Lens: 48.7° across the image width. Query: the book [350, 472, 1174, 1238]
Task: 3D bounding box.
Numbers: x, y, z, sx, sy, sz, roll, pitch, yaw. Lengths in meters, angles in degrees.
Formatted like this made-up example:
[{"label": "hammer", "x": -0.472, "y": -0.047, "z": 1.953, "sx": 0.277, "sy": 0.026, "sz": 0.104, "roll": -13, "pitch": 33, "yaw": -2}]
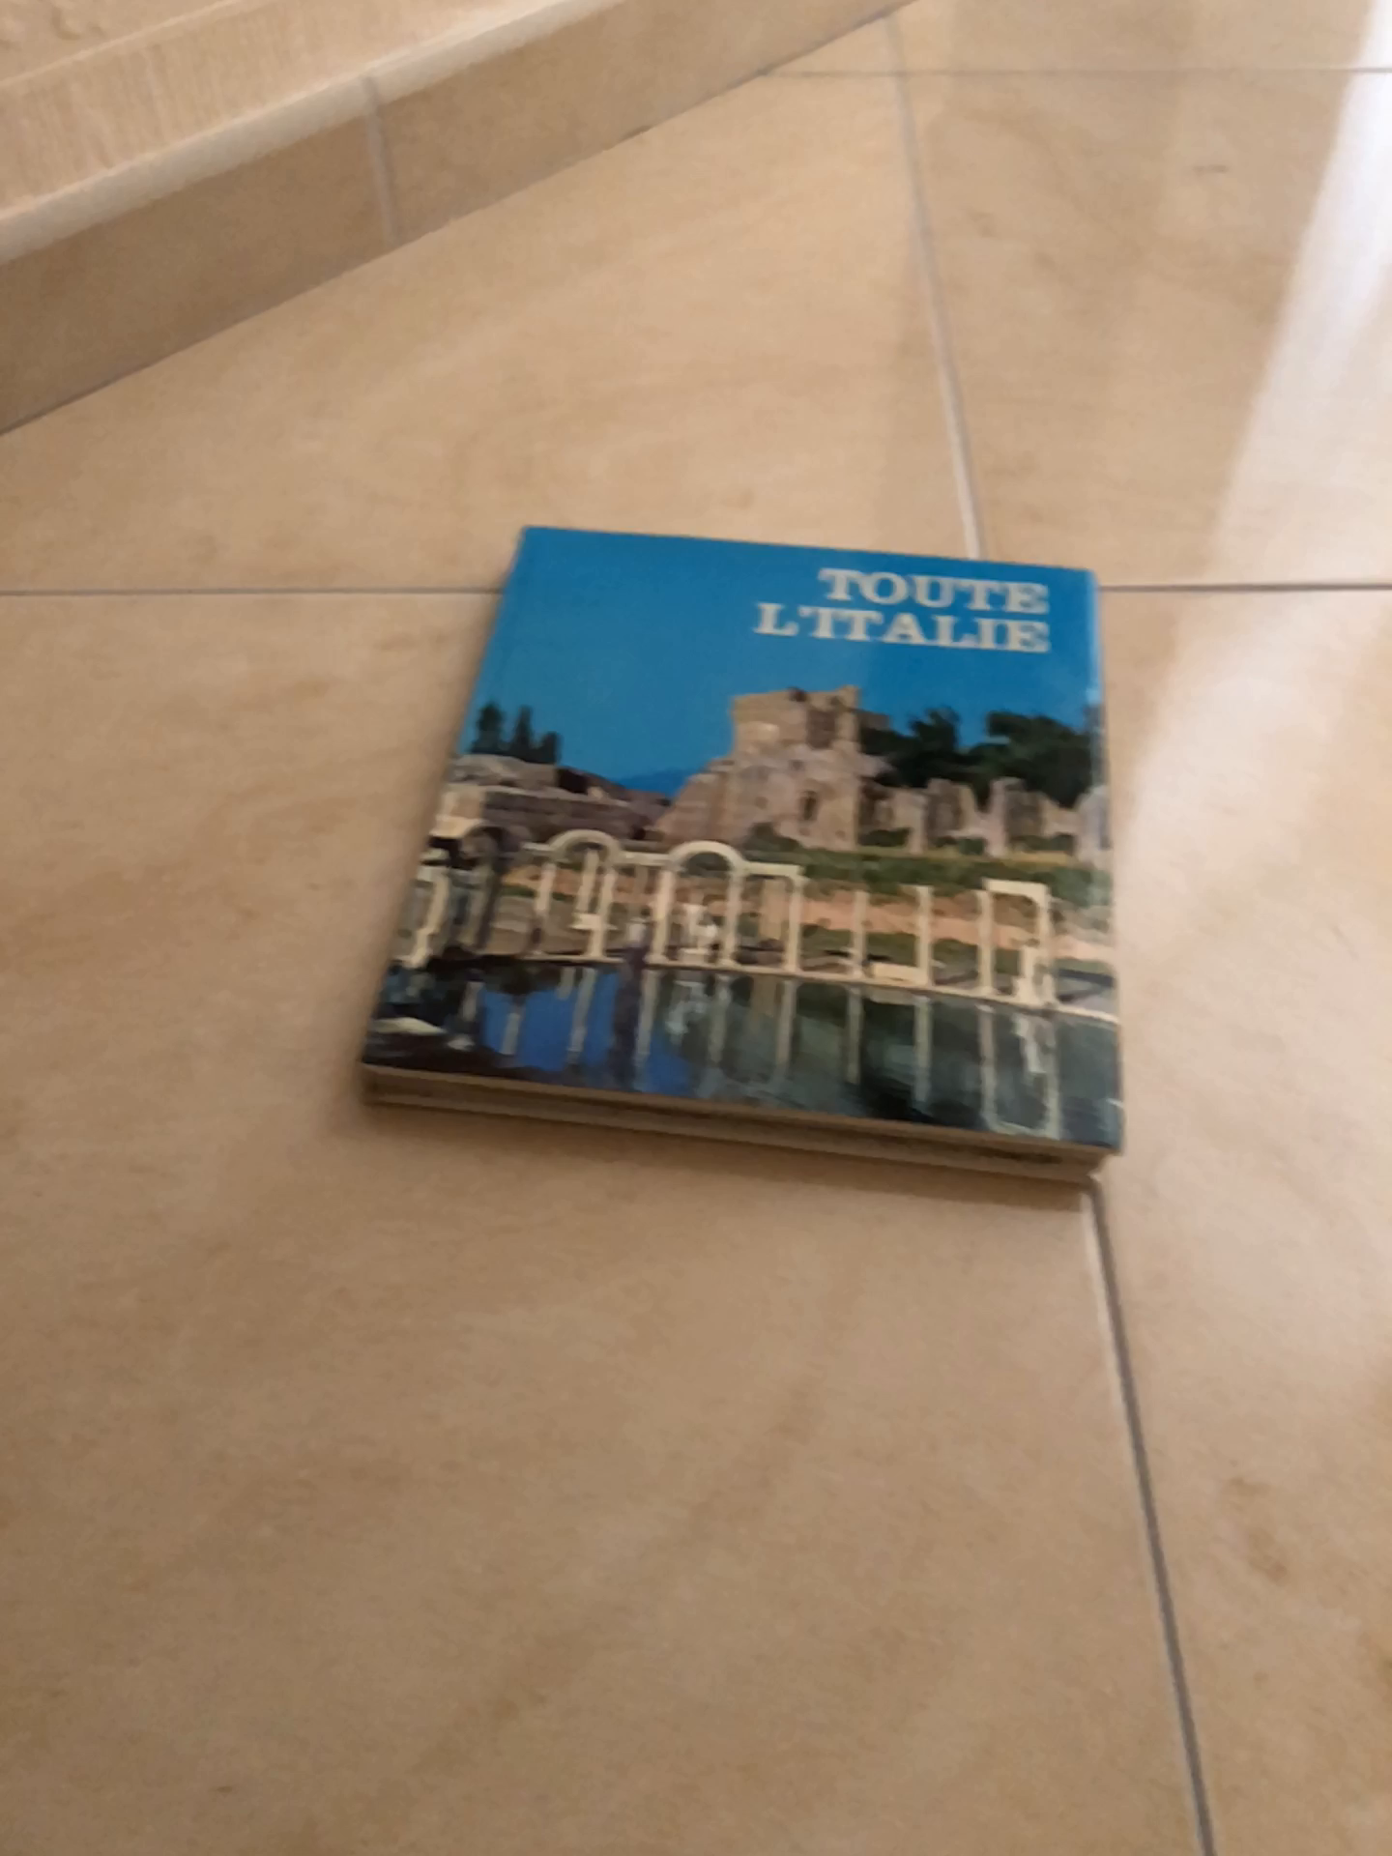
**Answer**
[{"label": "book", "x": 0.035, "y": -0.046, "z": 0.554, "sx": 0.240, "sy": 0.050, "sz": 0.292, "roll": 6, "pitch": 53, "yaw": 4}]
